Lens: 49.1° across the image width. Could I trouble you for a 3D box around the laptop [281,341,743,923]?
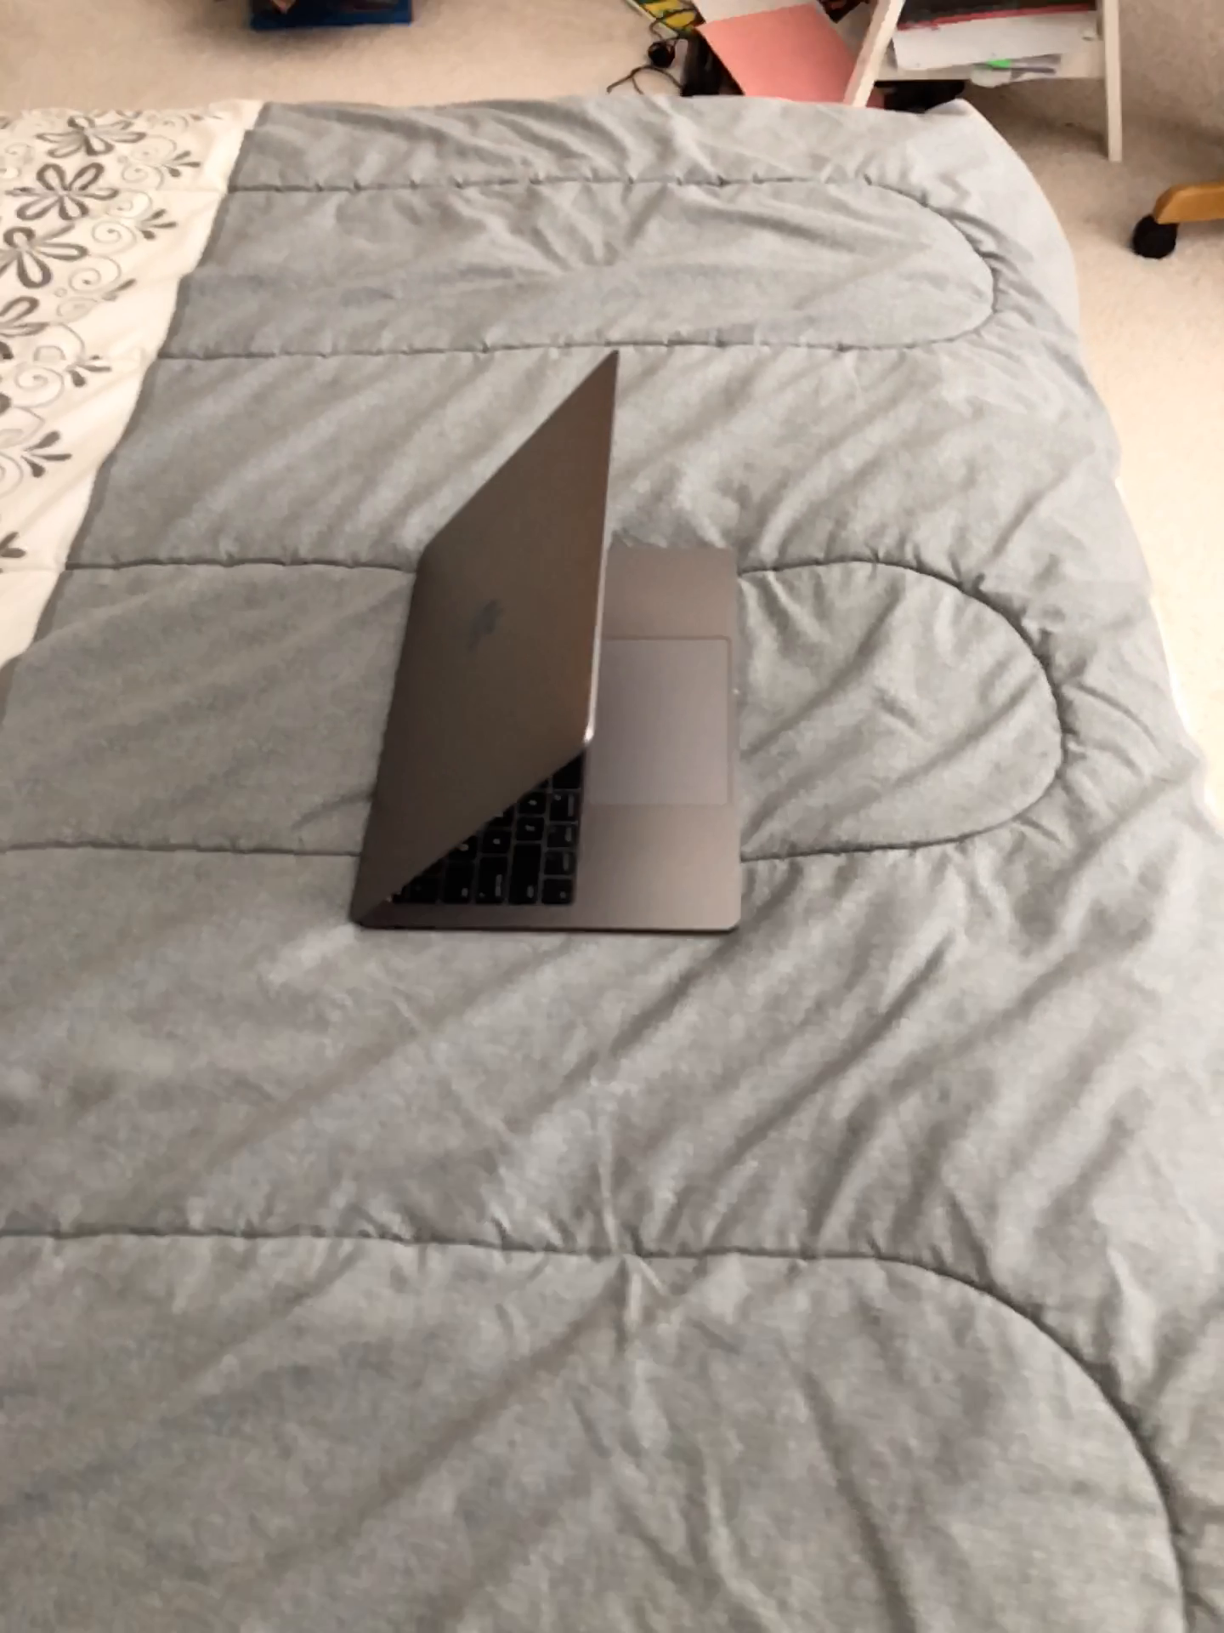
[{"bbox_3d":[-0.034,-0.101,0.700,0.195,0.140,0.279,1,54,3],"label":"laptop"}]
